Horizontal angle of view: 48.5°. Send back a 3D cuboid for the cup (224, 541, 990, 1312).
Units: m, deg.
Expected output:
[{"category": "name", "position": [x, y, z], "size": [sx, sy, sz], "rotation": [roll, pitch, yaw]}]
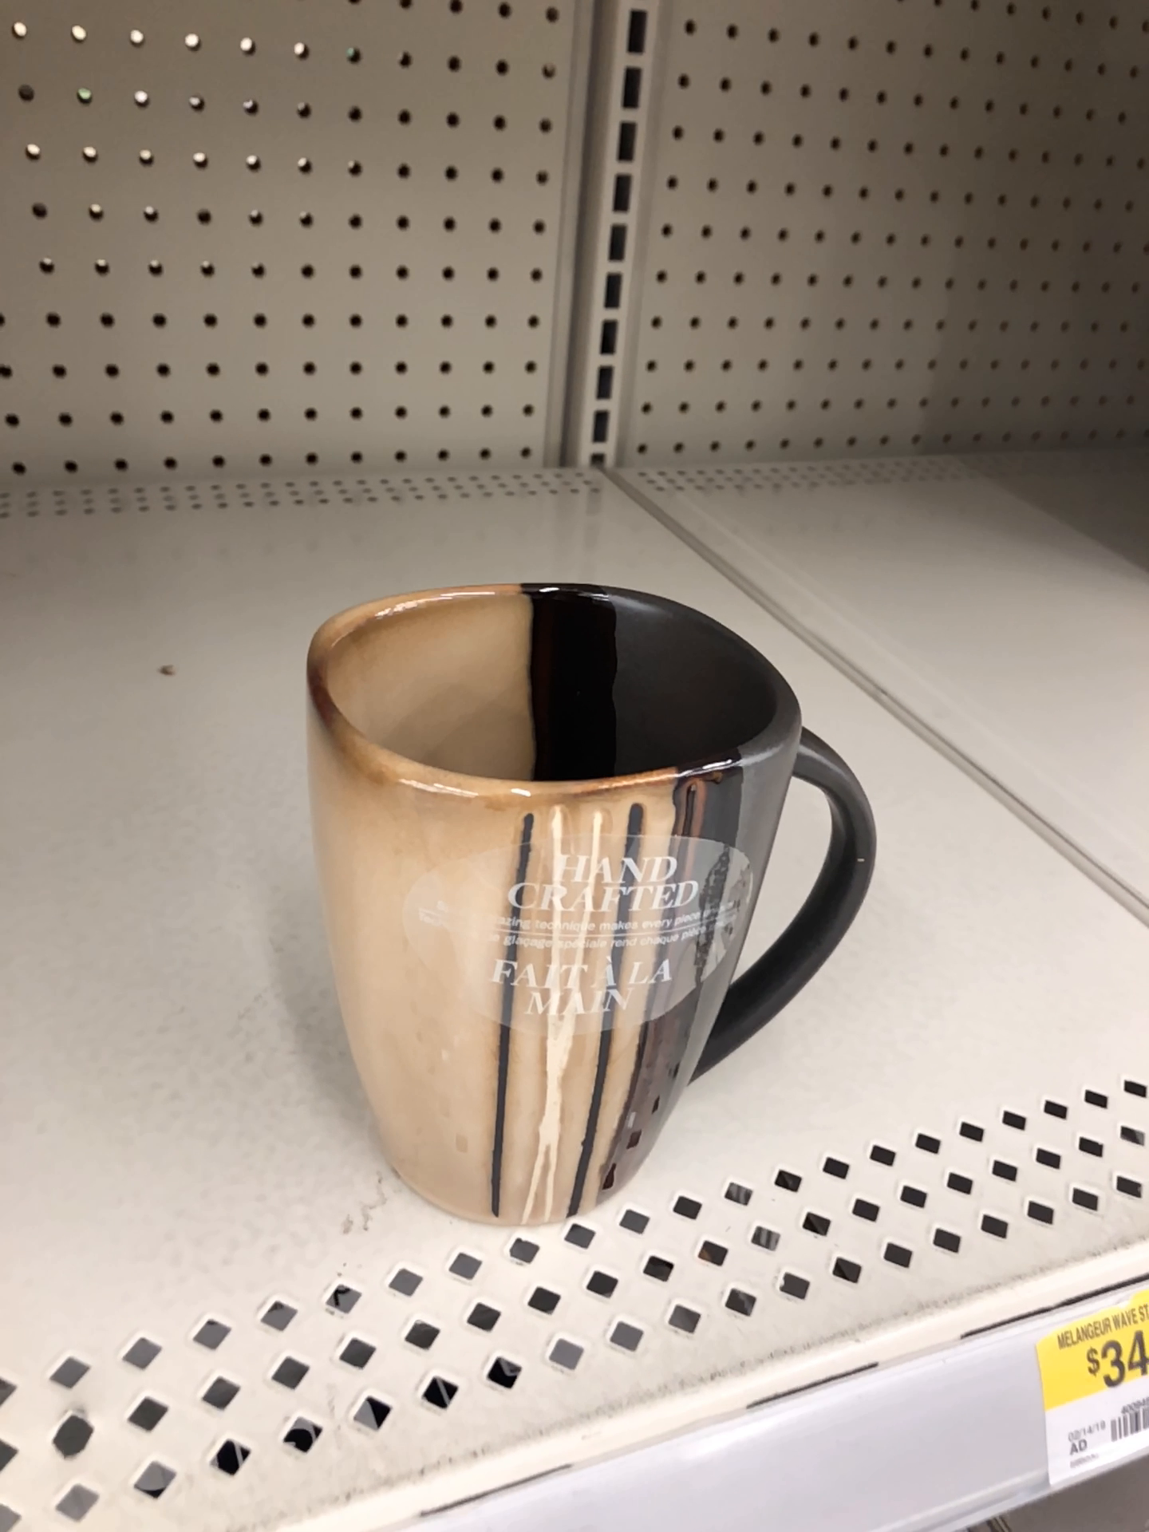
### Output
[{"category": "cup", "position": [-0.002, 0.025, 0.267], "size": [0.120, 0.110, 0.087], "rotation": [-8, 32, -21]}]
